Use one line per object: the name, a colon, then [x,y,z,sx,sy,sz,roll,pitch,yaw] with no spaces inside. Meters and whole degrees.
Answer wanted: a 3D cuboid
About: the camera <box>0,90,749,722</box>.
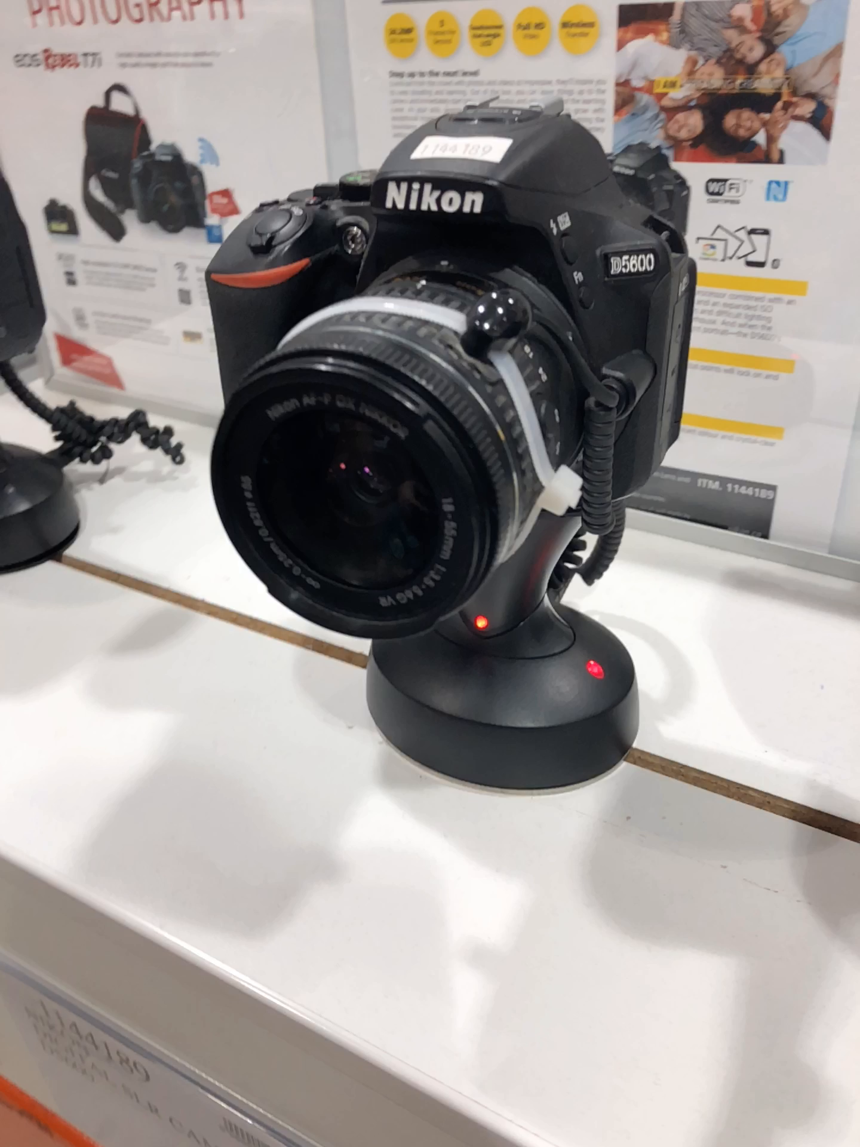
camera: [-0.005,-0.058,0.232,0.130,0.090,0.140,11,35,19]
